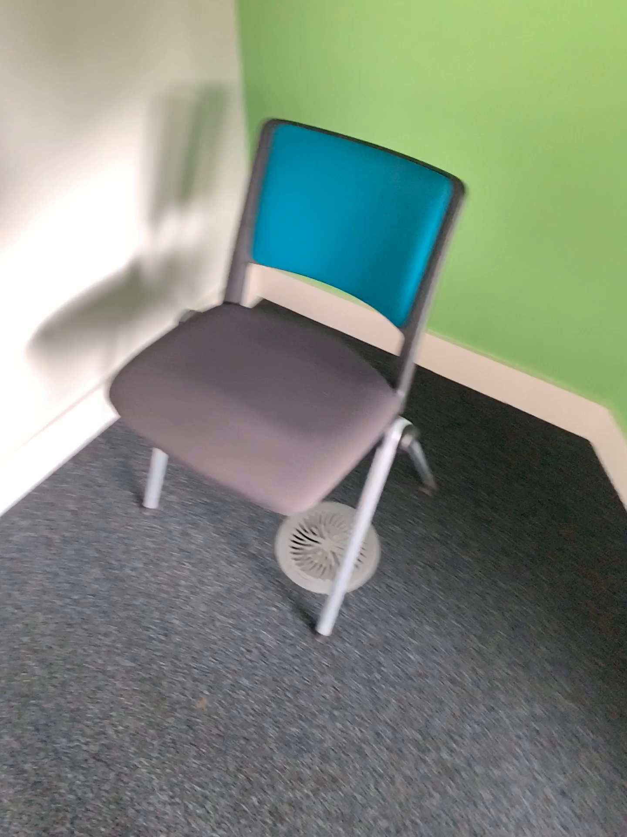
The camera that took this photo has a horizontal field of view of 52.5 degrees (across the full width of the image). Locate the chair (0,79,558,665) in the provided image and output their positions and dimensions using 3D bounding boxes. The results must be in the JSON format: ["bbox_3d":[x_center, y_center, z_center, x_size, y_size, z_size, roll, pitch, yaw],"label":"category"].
[{"bbox_3d":[-0.046,-0.091,1.117,0.582,0.664,0.553,28,53,23],"label":"chair"}]
